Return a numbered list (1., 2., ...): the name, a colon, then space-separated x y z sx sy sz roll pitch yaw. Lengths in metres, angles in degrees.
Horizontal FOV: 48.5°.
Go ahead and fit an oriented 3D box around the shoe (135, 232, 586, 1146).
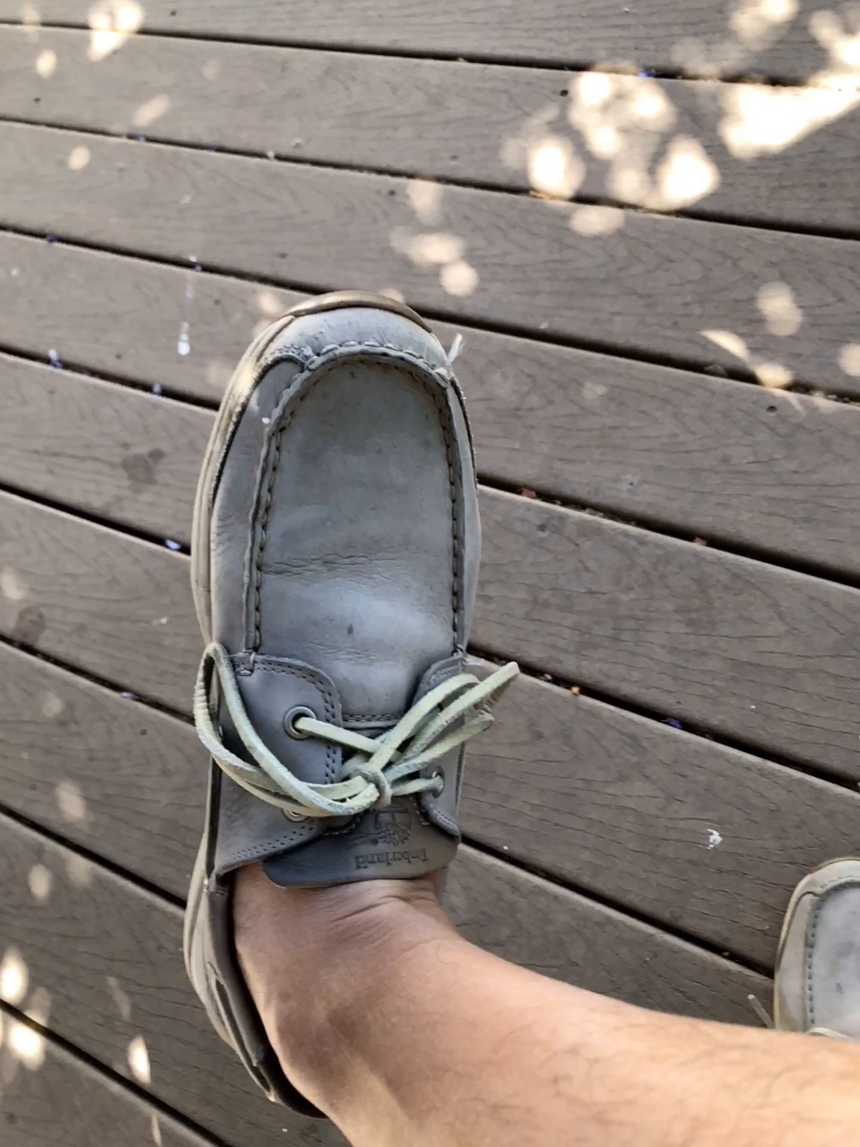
1. shoe: -0.033 0.057 0.358 0.083 0.116 0.326 19 106 57
